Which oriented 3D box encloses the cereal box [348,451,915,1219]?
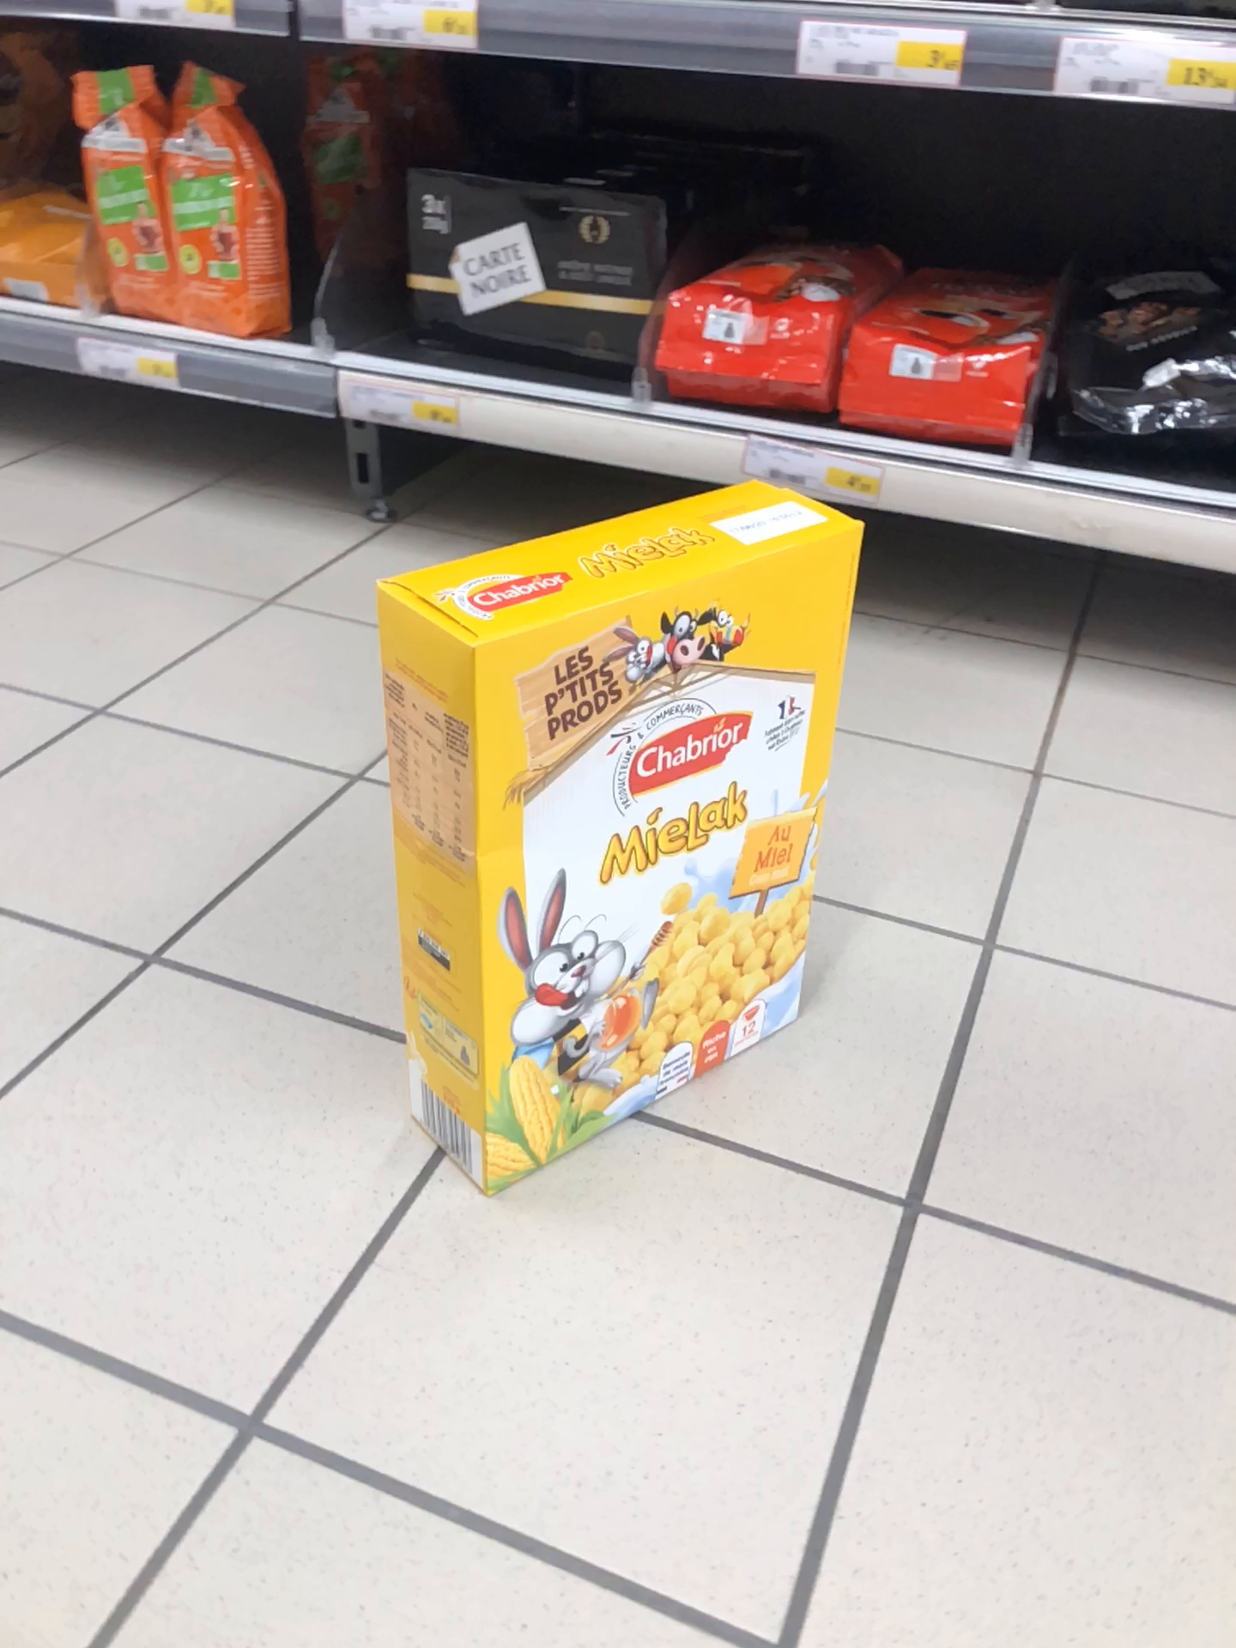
[{"bbox_3d":[0.008,0.001,0.560,0.211,0.258,0.070,-23,40,-34],"label":"cereal box"}]
